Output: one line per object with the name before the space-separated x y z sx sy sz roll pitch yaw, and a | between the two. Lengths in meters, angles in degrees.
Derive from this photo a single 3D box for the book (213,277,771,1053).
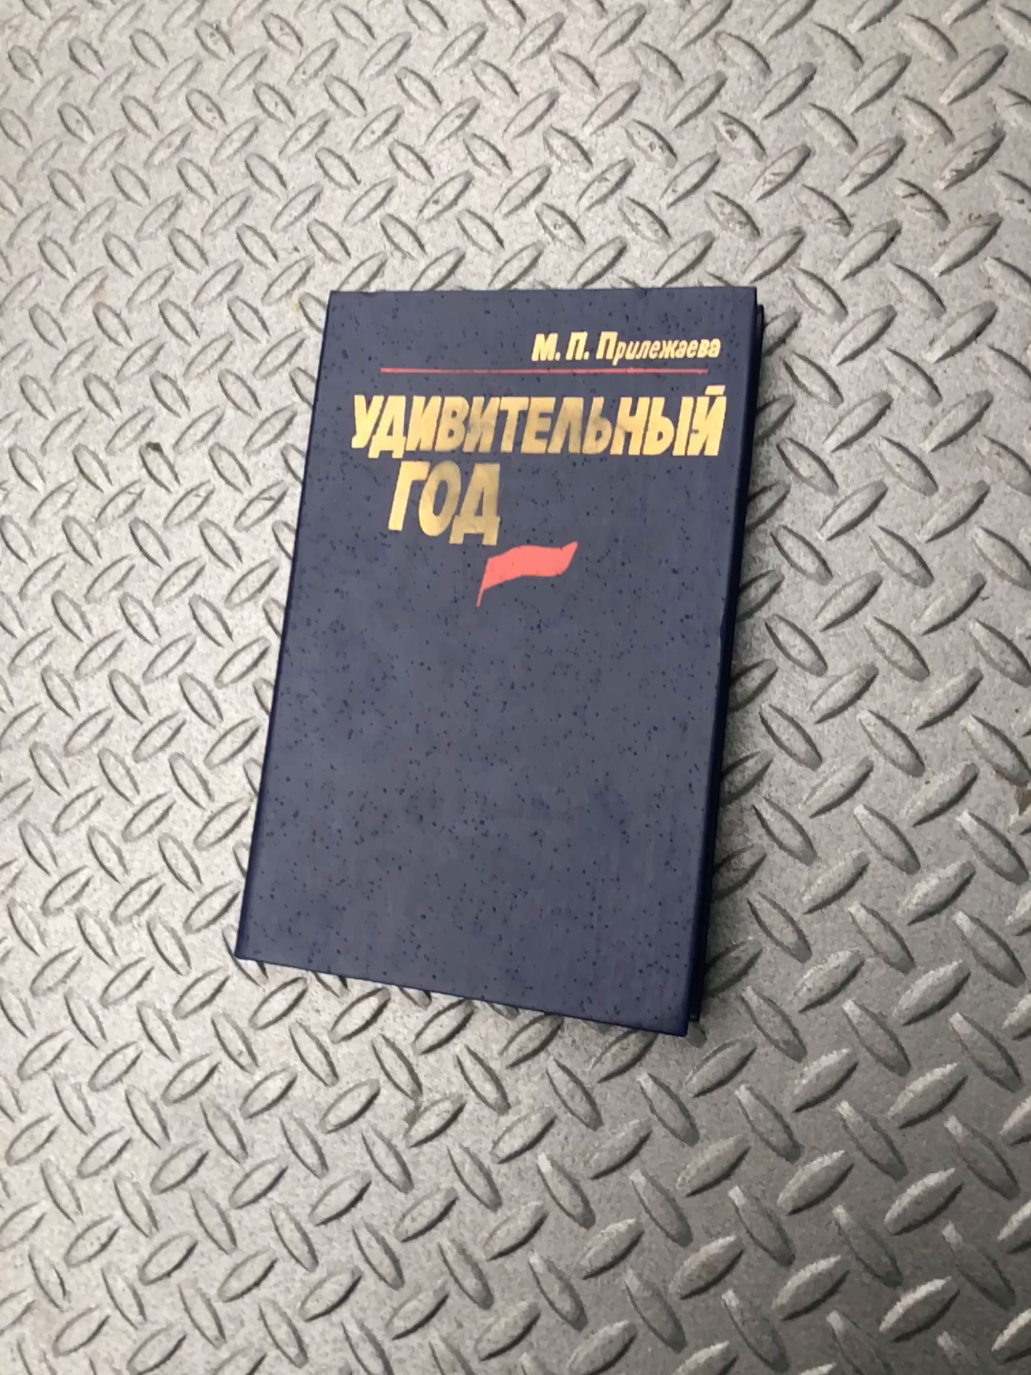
book | -0.004 -0.012 0.326 0.130 0.040 0.200 5 83 16
